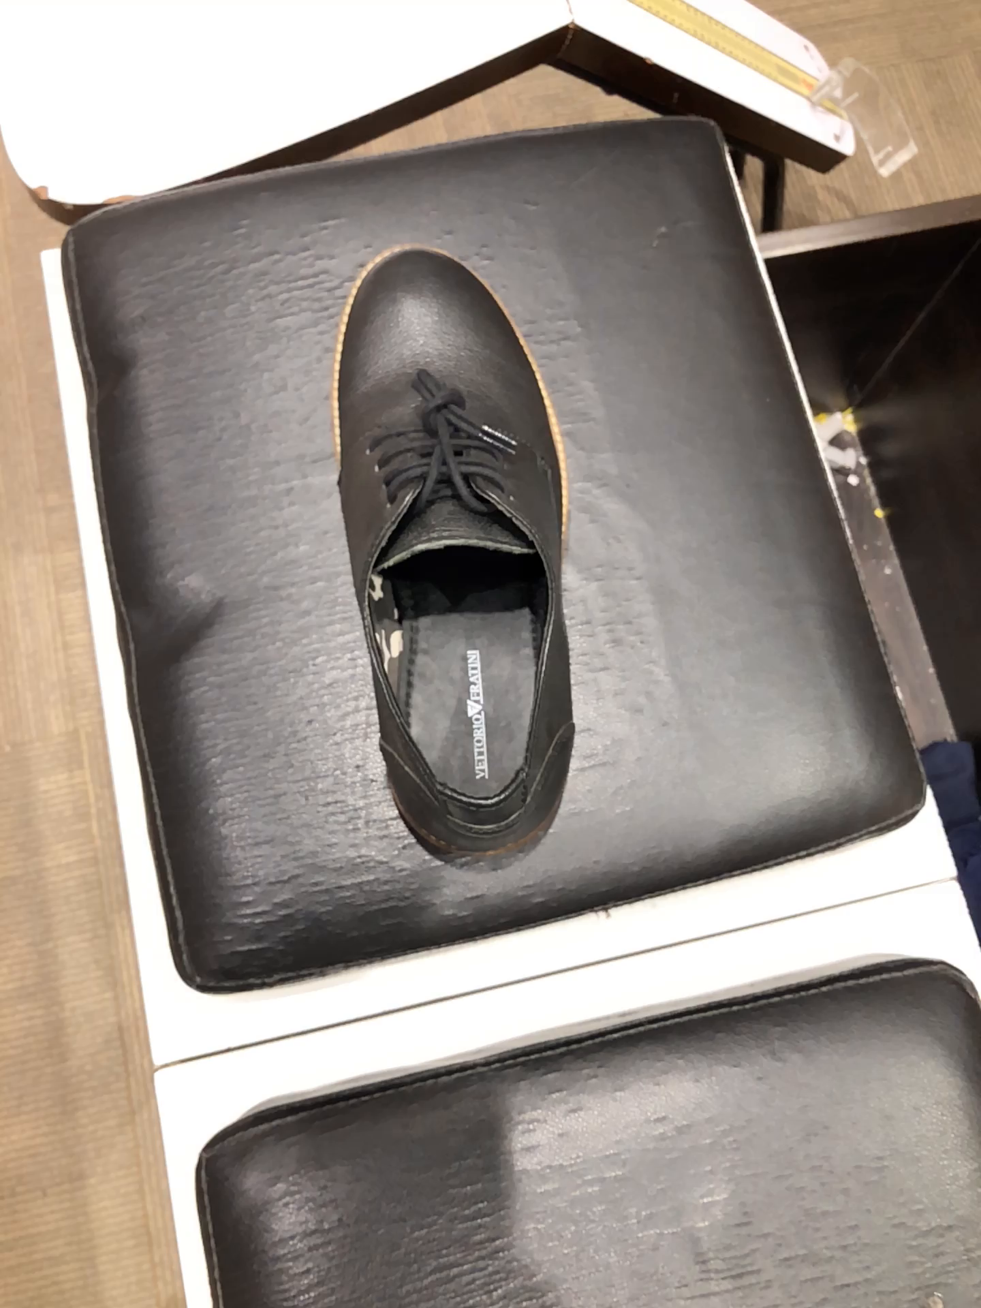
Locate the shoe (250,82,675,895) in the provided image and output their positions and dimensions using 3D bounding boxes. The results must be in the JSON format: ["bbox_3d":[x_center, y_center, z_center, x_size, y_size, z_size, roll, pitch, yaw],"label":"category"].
[{"bbox_3d":[-0.017,-0.062,0.430,0.110,0.100,0.290,-8,75,-3],"label":"shoe"}]
